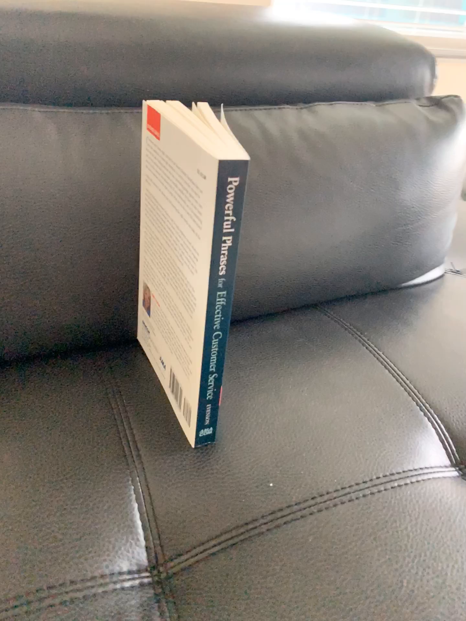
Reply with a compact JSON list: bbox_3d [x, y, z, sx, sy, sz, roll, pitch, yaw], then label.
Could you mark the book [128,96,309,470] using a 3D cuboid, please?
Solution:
[{"bbox_3d":[-0.031,-0.024,0.390,0.082,0.246,0.163,-5,36,-17],"label":"book"}]
